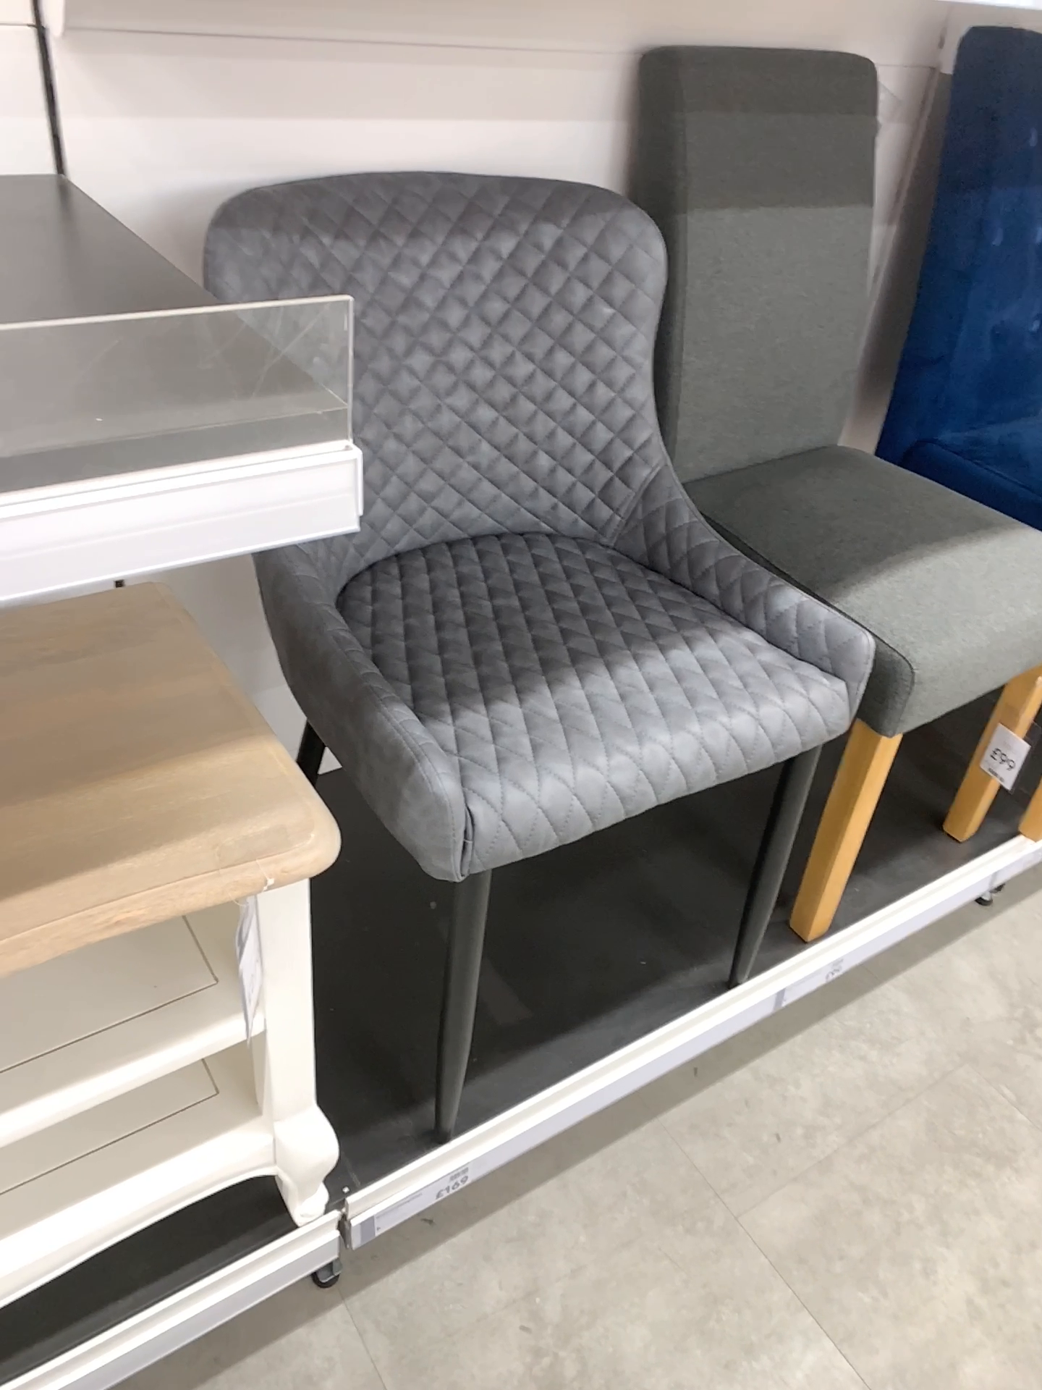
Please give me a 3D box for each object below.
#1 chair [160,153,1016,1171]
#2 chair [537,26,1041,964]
[{"bbox_3d":[-0.005,-0.067,1.100,0.482,0.792,0.544,-17,42,-30],"label":"chair"},{"bbox_3d":[0.400,-0.250,1.318,0.431,0.911,0.564,-17,42,-30],"label":"chair"}]
